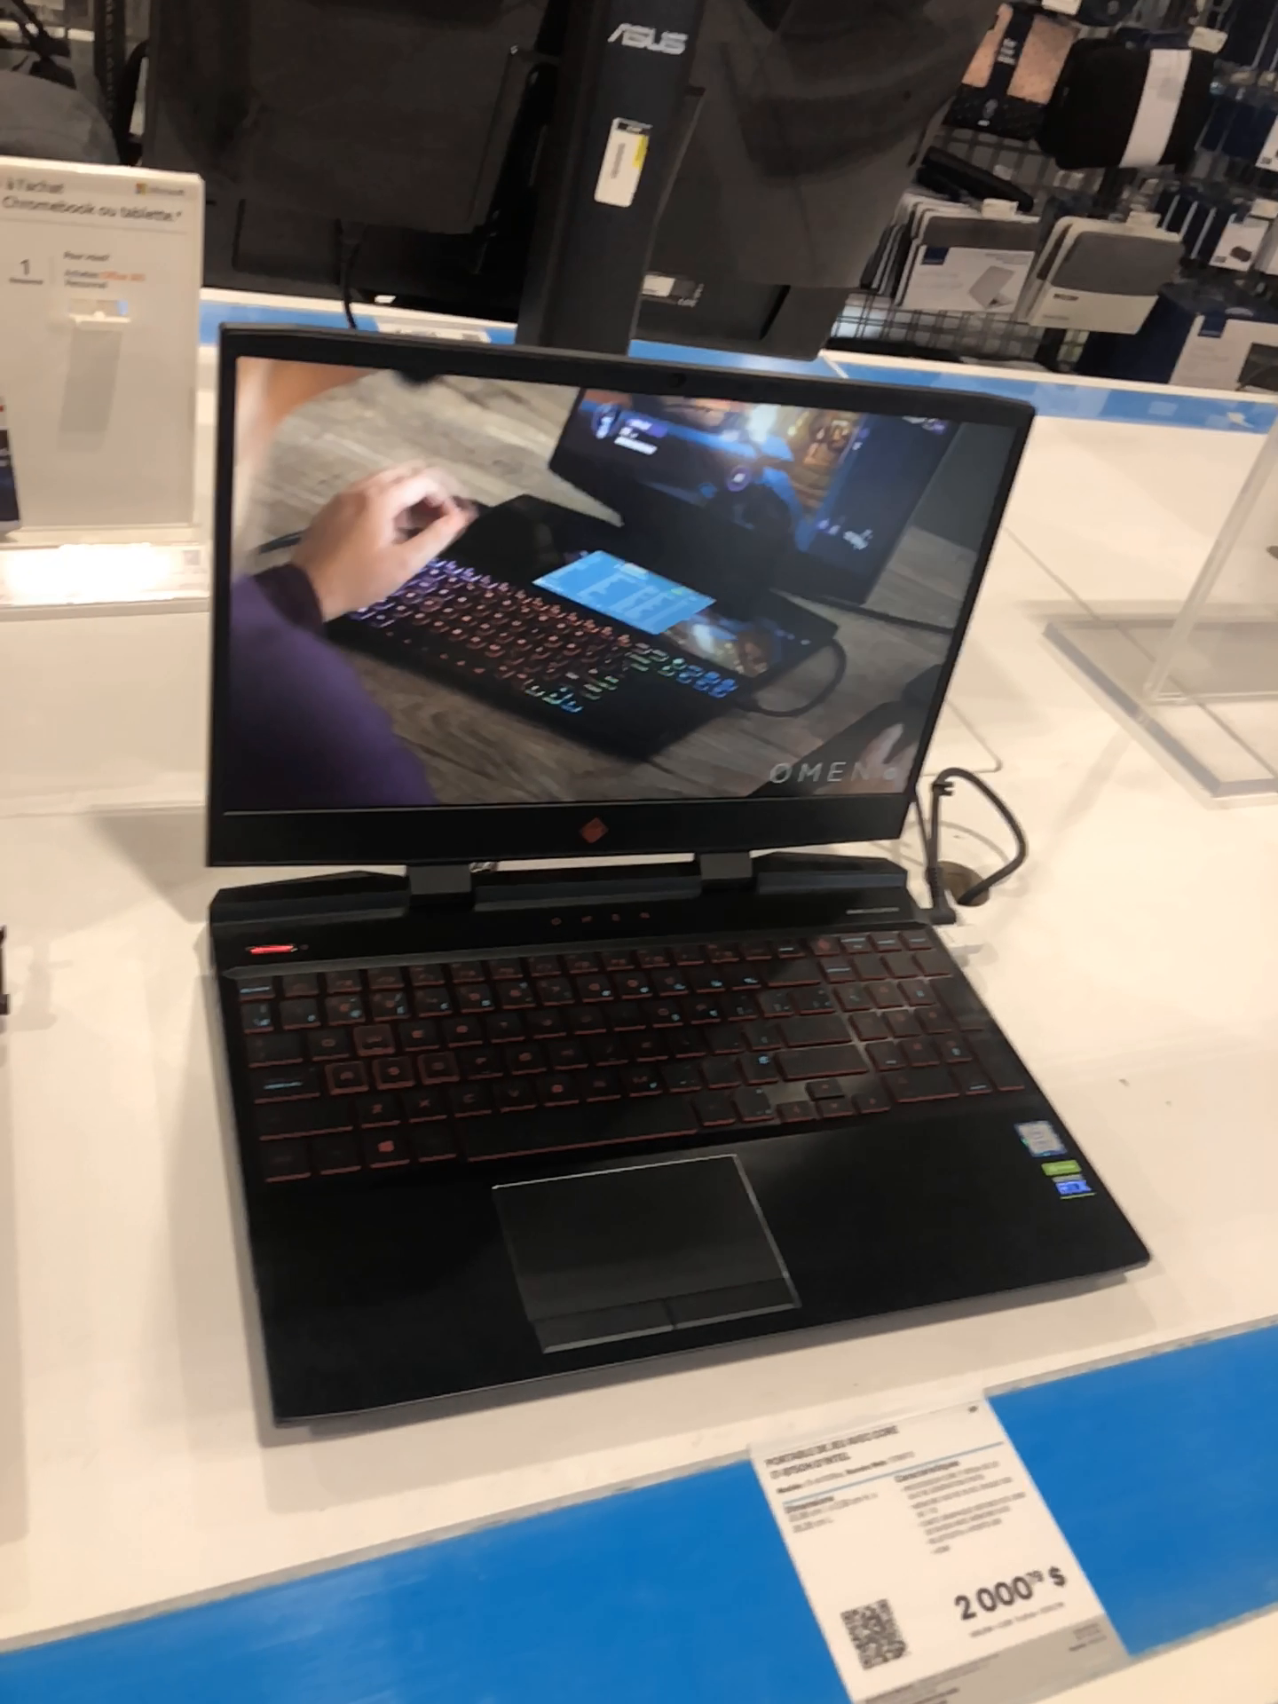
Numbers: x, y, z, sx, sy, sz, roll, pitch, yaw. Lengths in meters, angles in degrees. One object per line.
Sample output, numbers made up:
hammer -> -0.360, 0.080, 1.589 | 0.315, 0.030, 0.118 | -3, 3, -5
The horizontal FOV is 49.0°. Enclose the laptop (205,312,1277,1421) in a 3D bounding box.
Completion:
laptop -> 0.030, -0.015, 0.553 | 0.356, 0.239, 0.294 | -3, 42, -22
